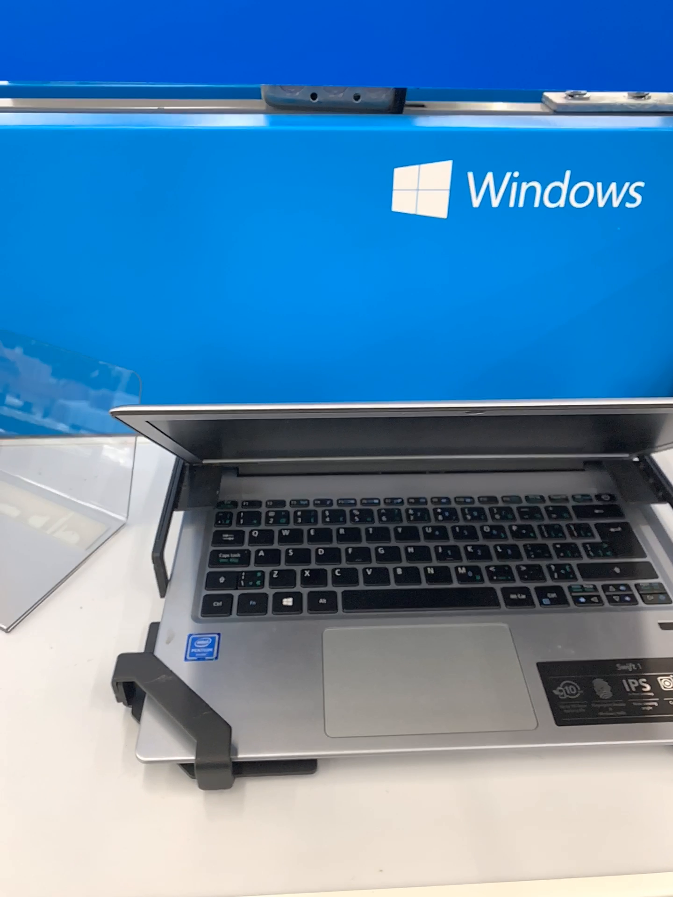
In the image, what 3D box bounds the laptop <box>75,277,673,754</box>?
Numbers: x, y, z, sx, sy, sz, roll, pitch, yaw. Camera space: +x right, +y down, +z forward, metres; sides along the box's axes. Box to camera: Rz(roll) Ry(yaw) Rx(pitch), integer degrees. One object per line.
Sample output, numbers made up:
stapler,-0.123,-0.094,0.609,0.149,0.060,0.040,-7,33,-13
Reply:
laptop,0.057,0.021,0.367,0.307,0.140,0.198,-1,38,-2
